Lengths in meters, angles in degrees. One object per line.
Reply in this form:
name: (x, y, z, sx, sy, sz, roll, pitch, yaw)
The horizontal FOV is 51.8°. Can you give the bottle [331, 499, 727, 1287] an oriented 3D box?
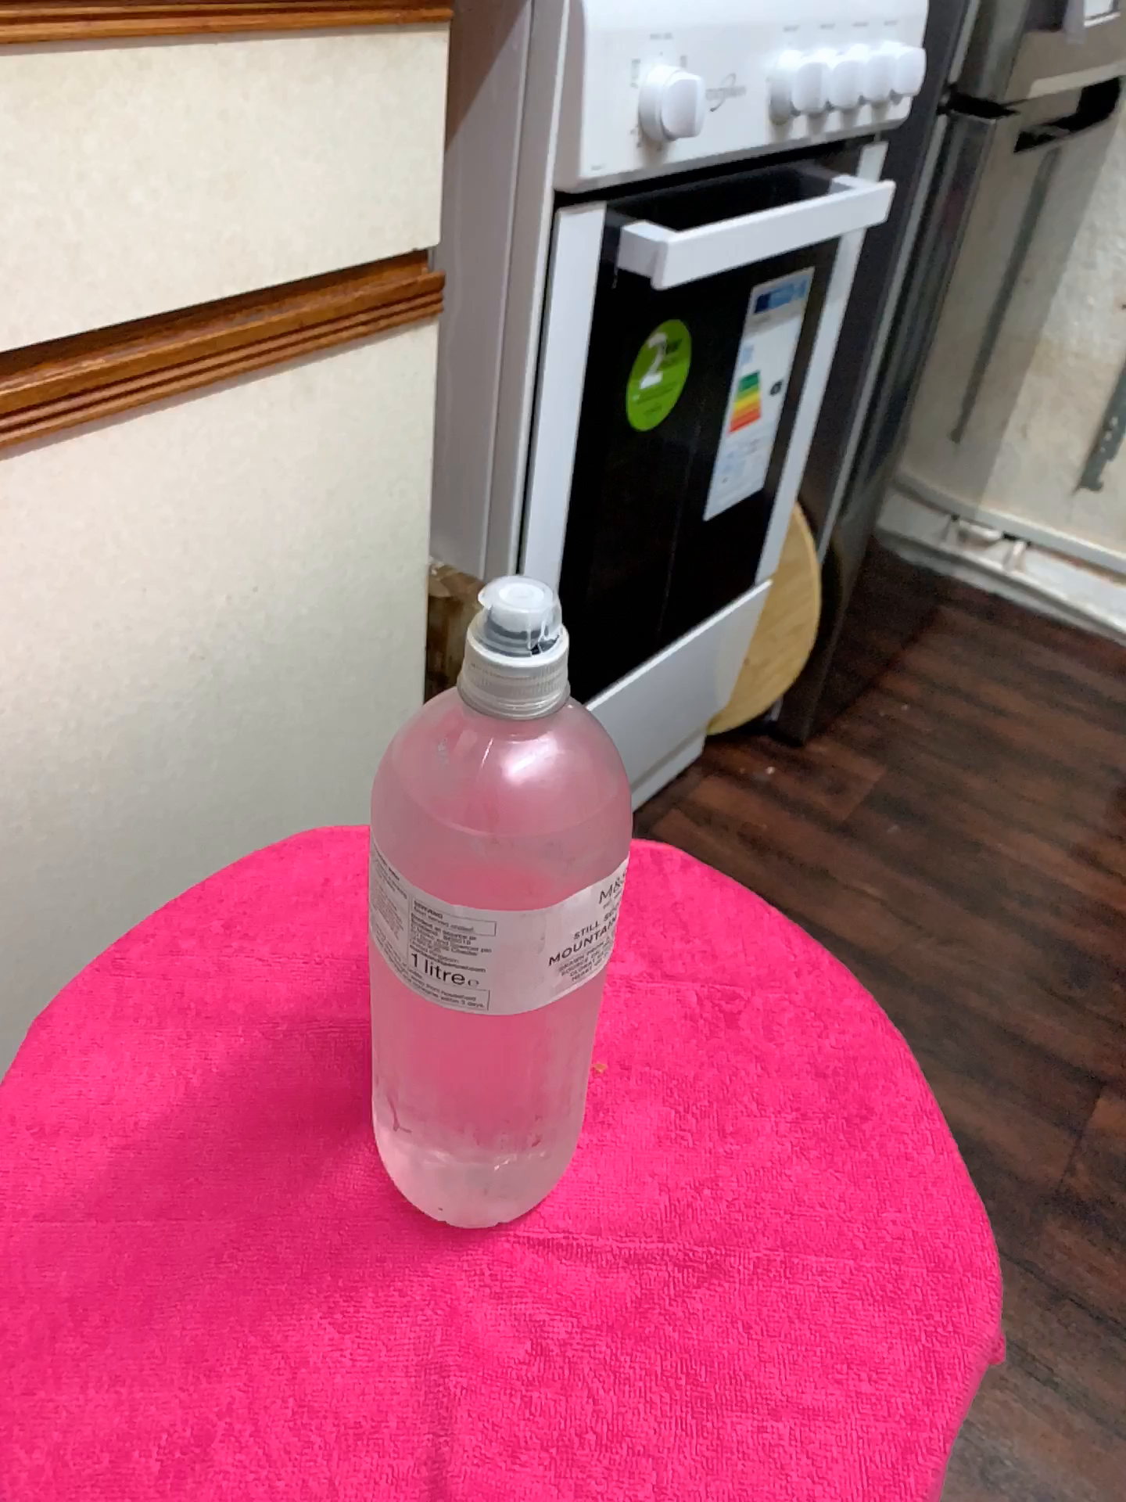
bottle: (-0.019, 0.060, 0.394, 0.080, 0.257, 0.091, 18, 39, 13)
